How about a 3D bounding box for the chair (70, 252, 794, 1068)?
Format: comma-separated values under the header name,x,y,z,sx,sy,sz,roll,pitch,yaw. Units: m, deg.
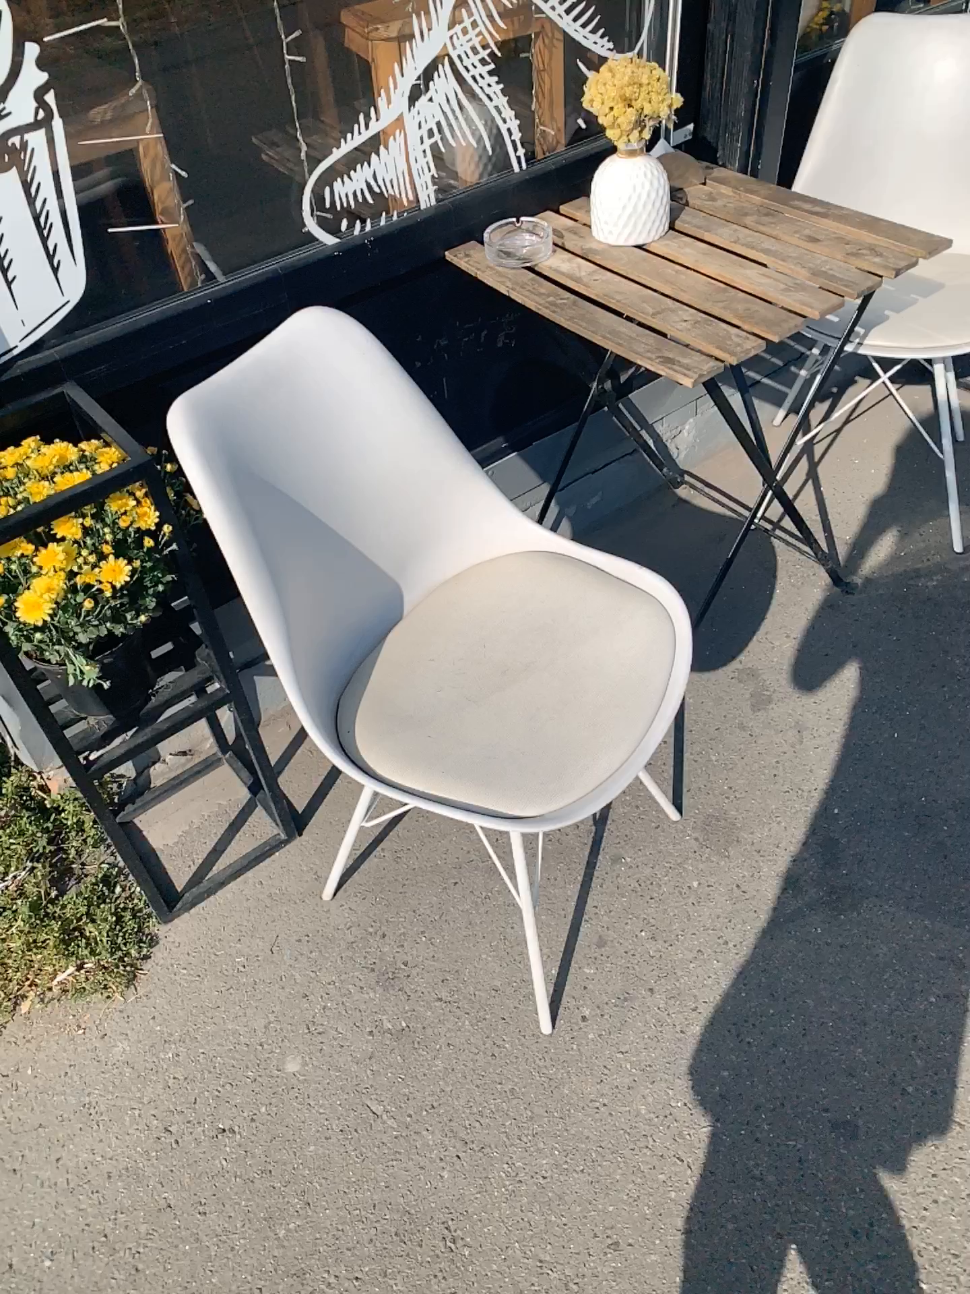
name,x,y,z,sx,sy,sz,roll,pitch,yaw
chair,-0.010,0.029,1.232,0.531,0.777,0.481,20,51,24
